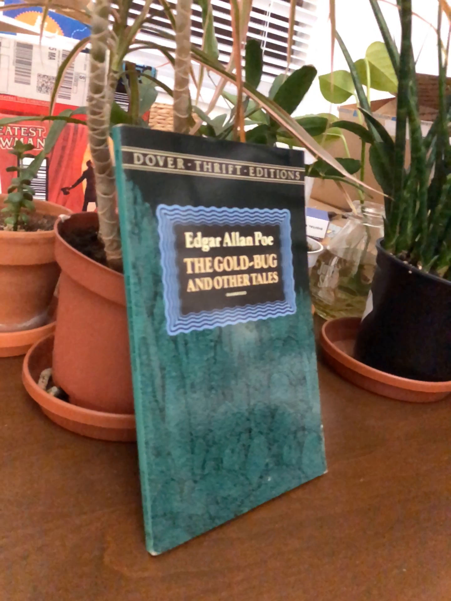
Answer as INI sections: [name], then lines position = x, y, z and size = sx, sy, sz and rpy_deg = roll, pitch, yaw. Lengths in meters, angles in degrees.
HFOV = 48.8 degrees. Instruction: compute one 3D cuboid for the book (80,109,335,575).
[book]
position = 0.001, 0.013, 0.274
size = 0.140, 0.210, 0.020
rpy_deg = -7, 3, -40
